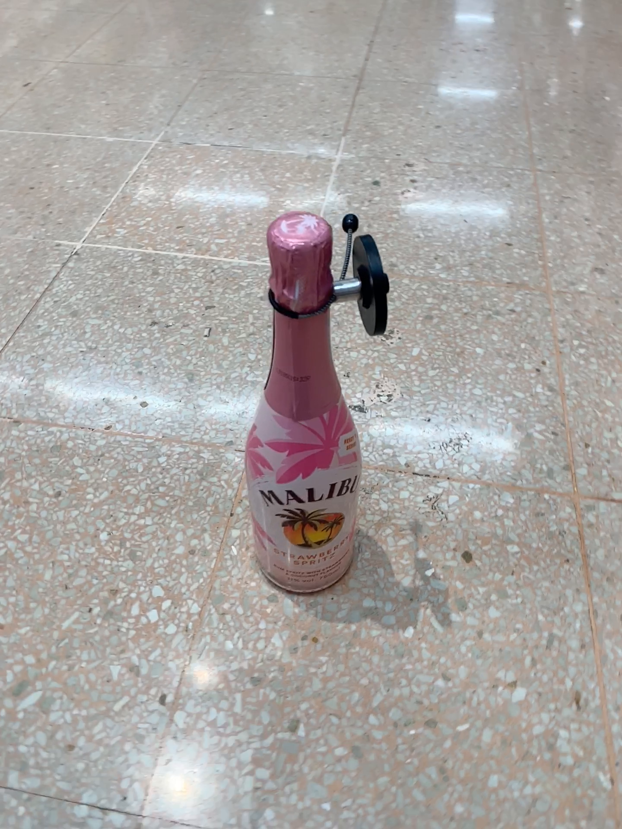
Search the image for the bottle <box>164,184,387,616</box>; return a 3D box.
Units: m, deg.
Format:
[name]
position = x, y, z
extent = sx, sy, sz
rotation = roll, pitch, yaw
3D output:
[bottle]
position = -0.018, 0.015, 0.405
extent = 0.080, 0.286, 0.081
rotation = 0, 48, 0
